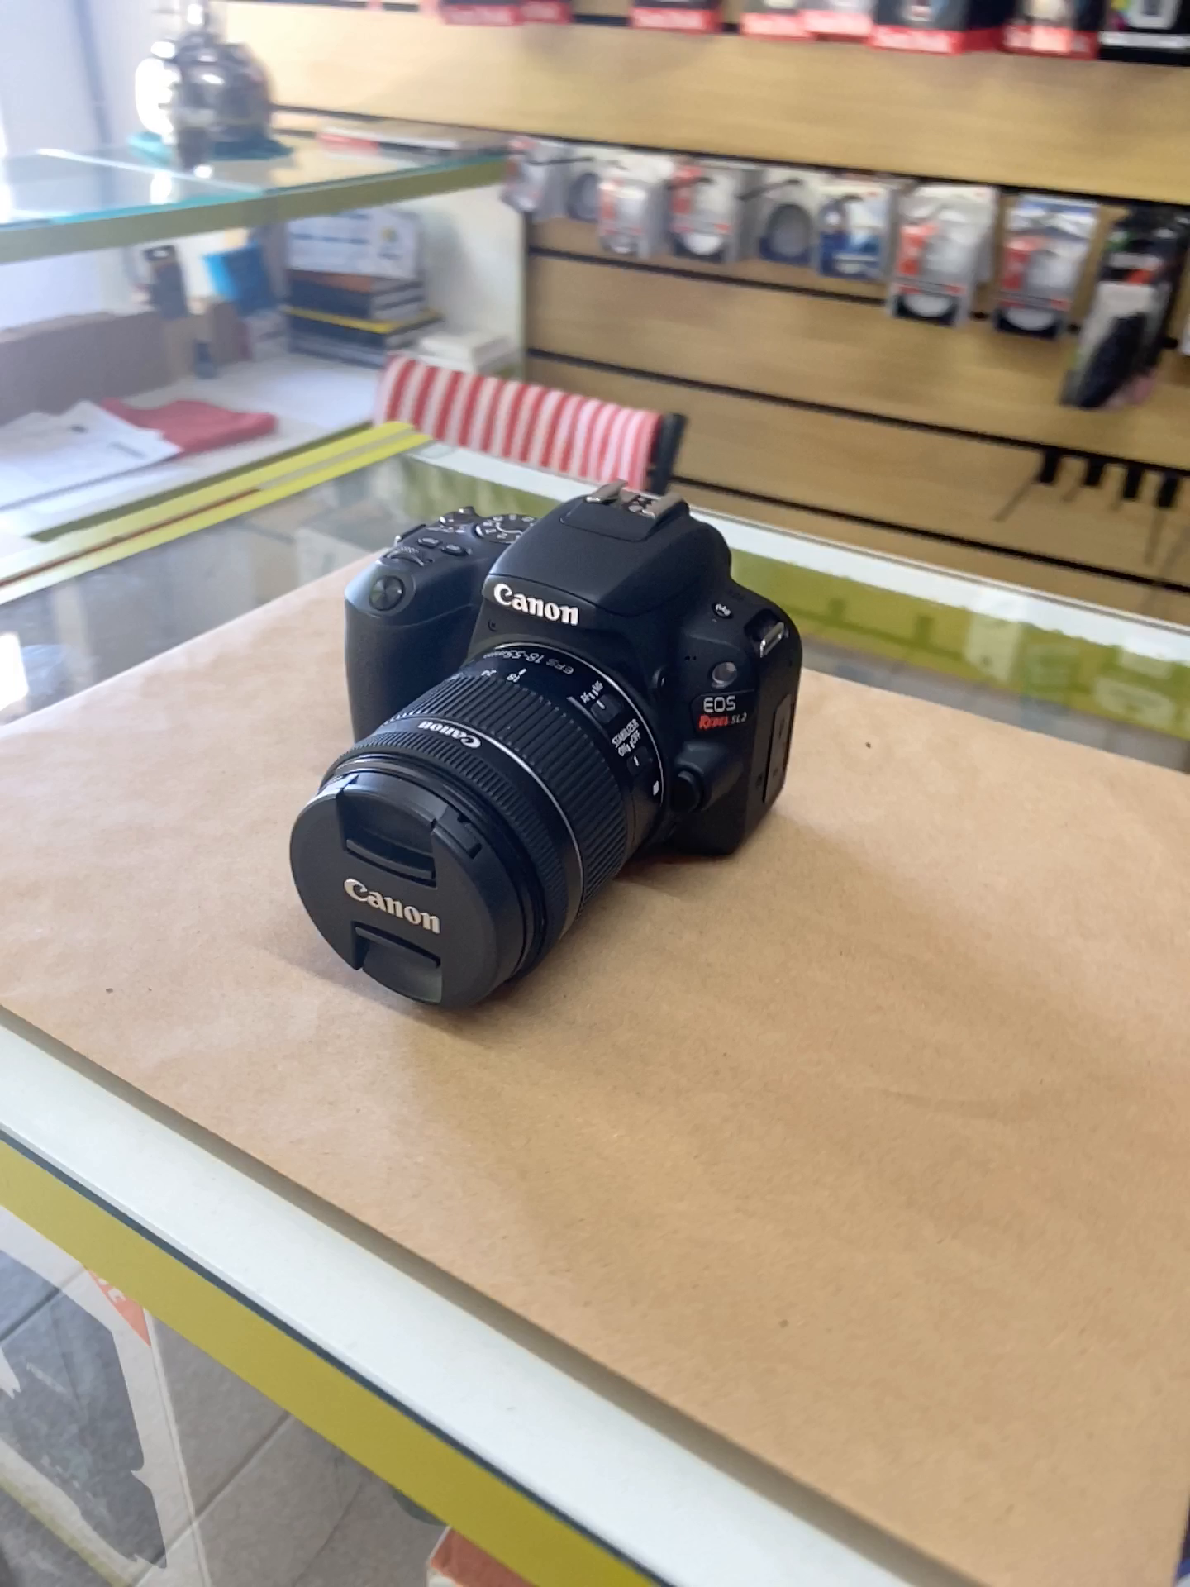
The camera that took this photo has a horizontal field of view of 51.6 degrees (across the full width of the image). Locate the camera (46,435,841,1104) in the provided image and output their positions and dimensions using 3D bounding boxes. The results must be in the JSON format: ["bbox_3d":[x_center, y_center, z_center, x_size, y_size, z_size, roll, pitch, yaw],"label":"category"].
[{"bbox_3d":[-0.029,-0.020,0.317,0.140,0.089,0.131,16,35,21],"label":"camera"}]
